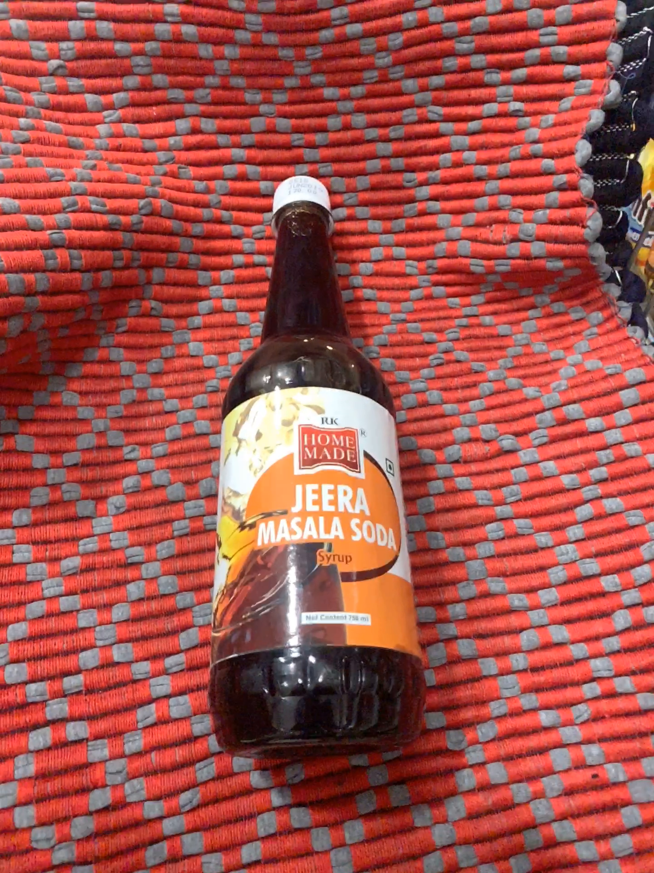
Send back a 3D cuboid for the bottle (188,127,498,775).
[{"bbox_3d":[-0.005,-0.011,0.277,0.080,0.070,0.261,5,56,-12],"label":"bottle"}]
